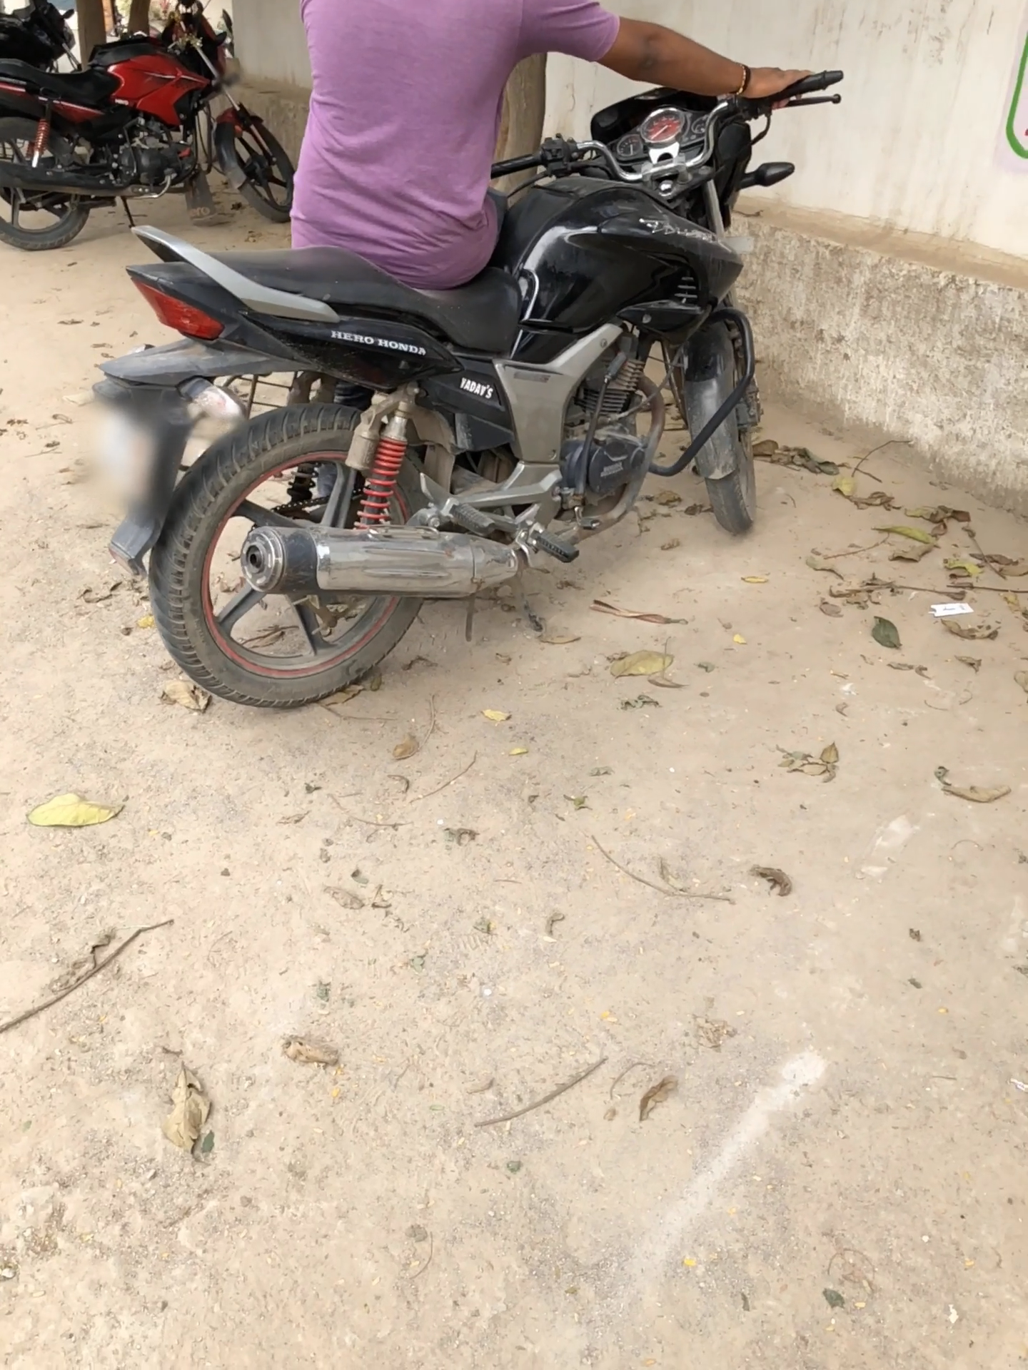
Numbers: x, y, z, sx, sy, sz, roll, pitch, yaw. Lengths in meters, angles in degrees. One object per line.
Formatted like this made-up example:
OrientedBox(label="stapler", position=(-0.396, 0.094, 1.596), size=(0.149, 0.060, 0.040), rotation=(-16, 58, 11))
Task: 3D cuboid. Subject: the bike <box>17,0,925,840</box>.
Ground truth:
OrientedBox(label="bike", position=(0.017, -0.803, 2.505), size=(0.824, 1.190, 1.848), rotation=(26, 40, 34))
